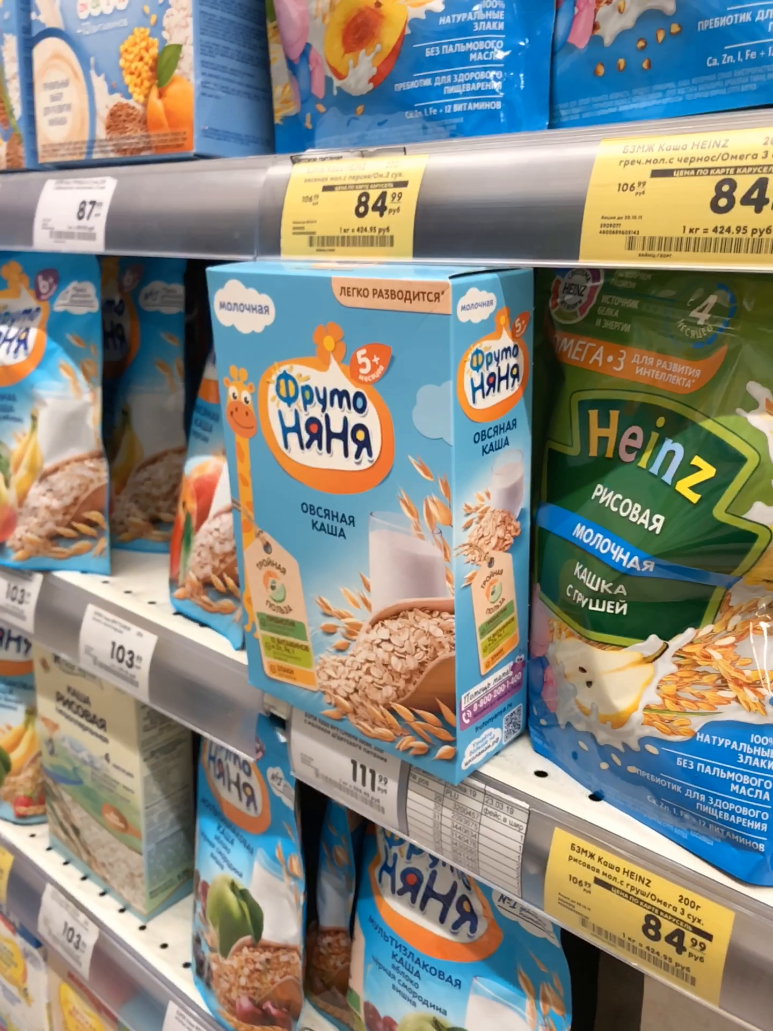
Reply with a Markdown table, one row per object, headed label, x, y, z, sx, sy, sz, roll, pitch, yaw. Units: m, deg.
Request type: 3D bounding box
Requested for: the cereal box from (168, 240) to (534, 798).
| label | x | y | z | sx | sy | sz | roll | pitch | yaw |
| --- | --- | --- | --- | --- | --- | --- | --- | --- | --- |
| cereal box | -0.015 | -0.007 | 0.355 | 0.140 | 0.199 | 0.050 | 14 | 25 | 38 |
